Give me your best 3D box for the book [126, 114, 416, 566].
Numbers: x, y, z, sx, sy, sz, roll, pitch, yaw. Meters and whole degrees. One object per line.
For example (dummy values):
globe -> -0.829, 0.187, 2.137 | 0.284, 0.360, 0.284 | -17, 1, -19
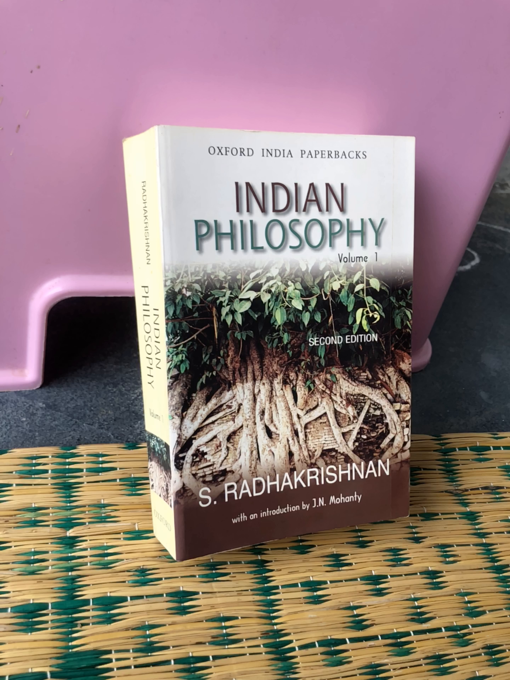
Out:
book -> 0.009, -0.004, 0.321 | 0.140, 0.210, 0.070 | -4, 4, -21
